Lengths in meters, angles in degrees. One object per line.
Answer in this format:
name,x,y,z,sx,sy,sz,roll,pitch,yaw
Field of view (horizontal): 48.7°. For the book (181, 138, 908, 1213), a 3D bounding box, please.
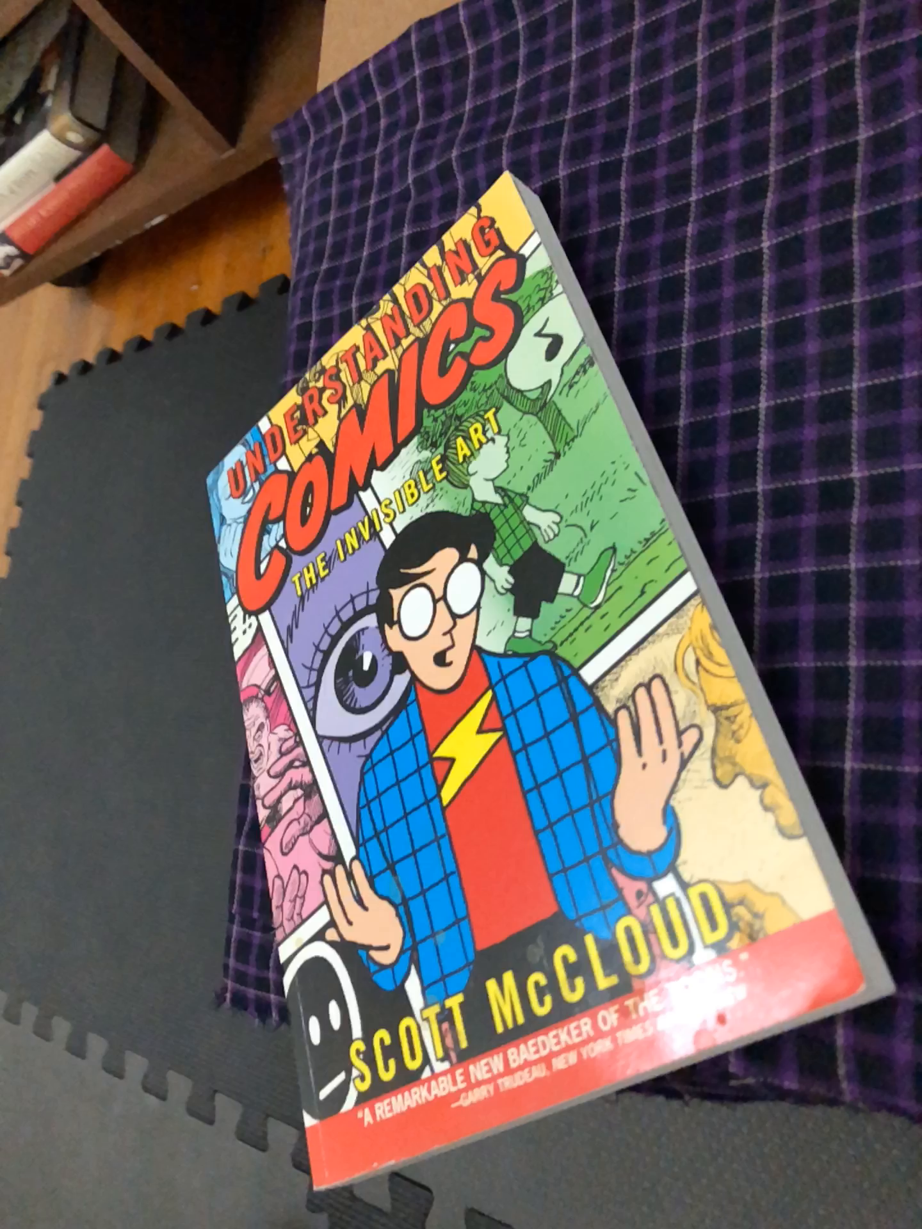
book,-0.012,0.006,0.304,0.170,0.020,0.271,-36,54,30
